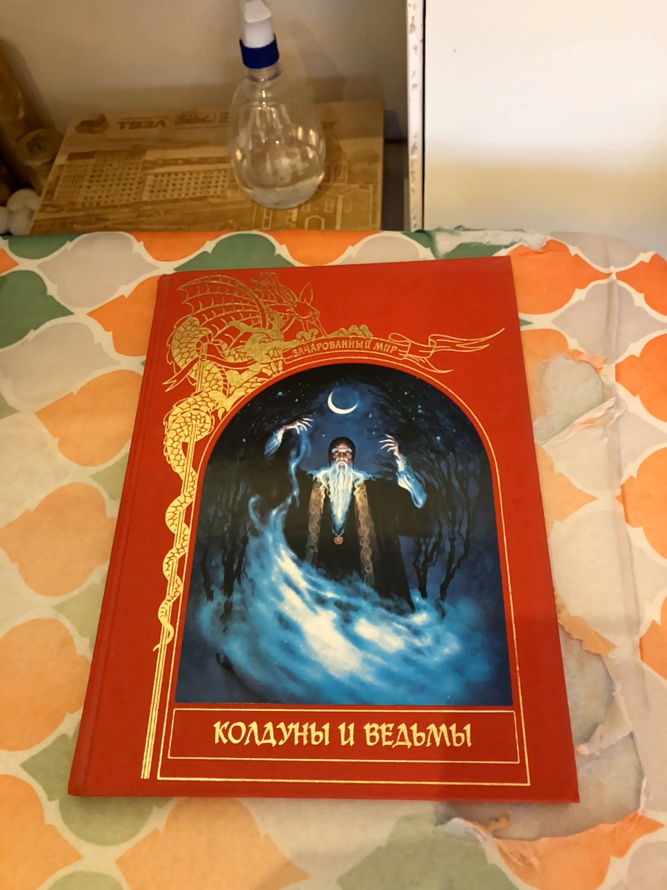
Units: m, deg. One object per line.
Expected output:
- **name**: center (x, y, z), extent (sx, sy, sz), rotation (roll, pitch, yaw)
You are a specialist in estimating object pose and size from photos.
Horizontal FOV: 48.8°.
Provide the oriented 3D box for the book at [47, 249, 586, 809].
- **book**: center (-0.006, 0.020, 0.373), extent (0.215, 0.020, 0.291), rotation (-2, 60, 5)
